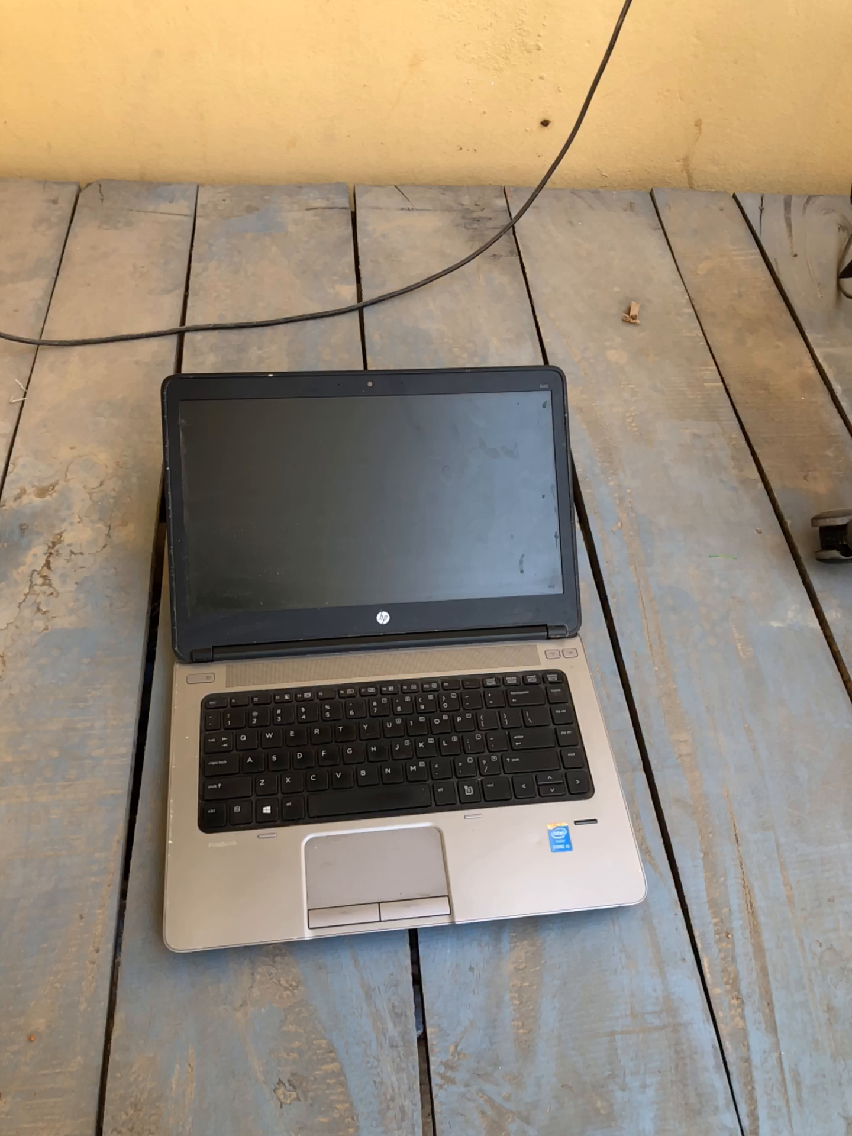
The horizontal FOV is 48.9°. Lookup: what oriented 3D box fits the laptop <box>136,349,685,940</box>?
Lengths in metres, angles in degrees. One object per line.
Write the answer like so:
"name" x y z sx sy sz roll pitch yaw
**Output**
"laptop" -0.030 0.031 0.676 0.306 0.123 0.390 -4 56 -6
